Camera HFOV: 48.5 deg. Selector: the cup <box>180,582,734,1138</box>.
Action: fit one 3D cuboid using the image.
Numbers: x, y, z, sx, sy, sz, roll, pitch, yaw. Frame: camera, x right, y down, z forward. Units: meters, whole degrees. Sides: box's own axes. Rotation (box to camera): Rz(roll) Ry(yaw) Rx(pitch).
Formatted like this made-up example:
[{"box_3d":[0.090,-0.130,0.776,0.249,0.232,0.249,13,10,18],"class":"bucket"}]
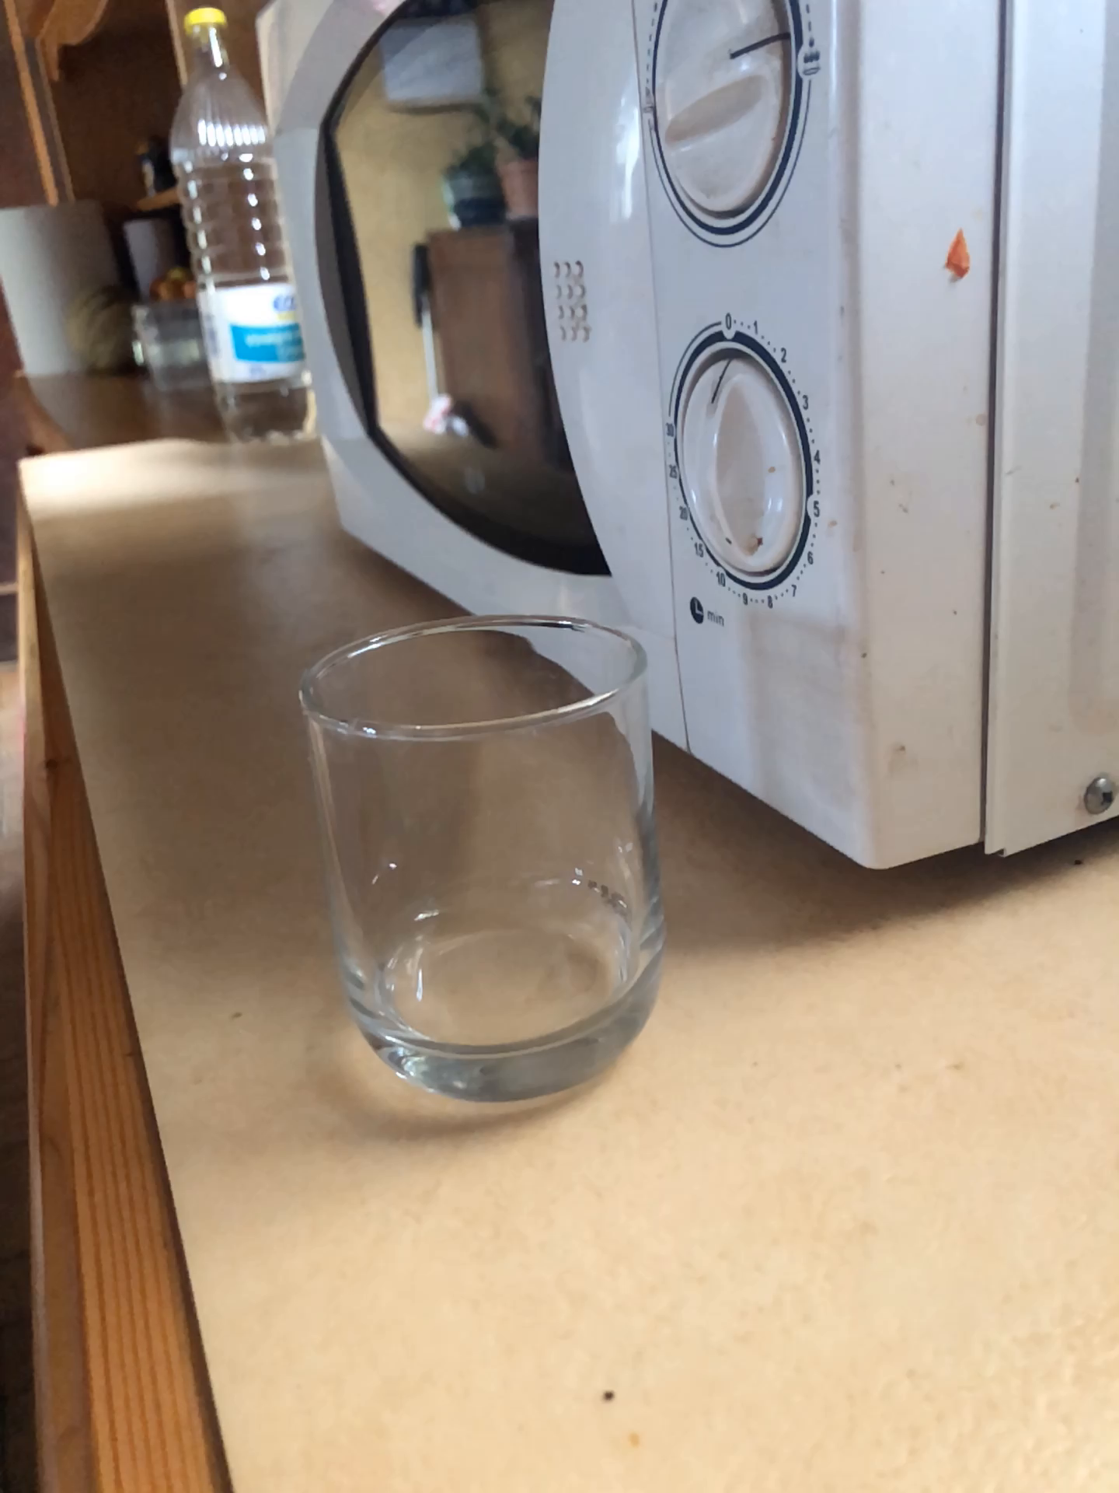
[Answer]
[{"box_3d":[-0.016,0.015,0.240,0.070,0.070,0.070,-5,22,2],"class":"cup"}]
